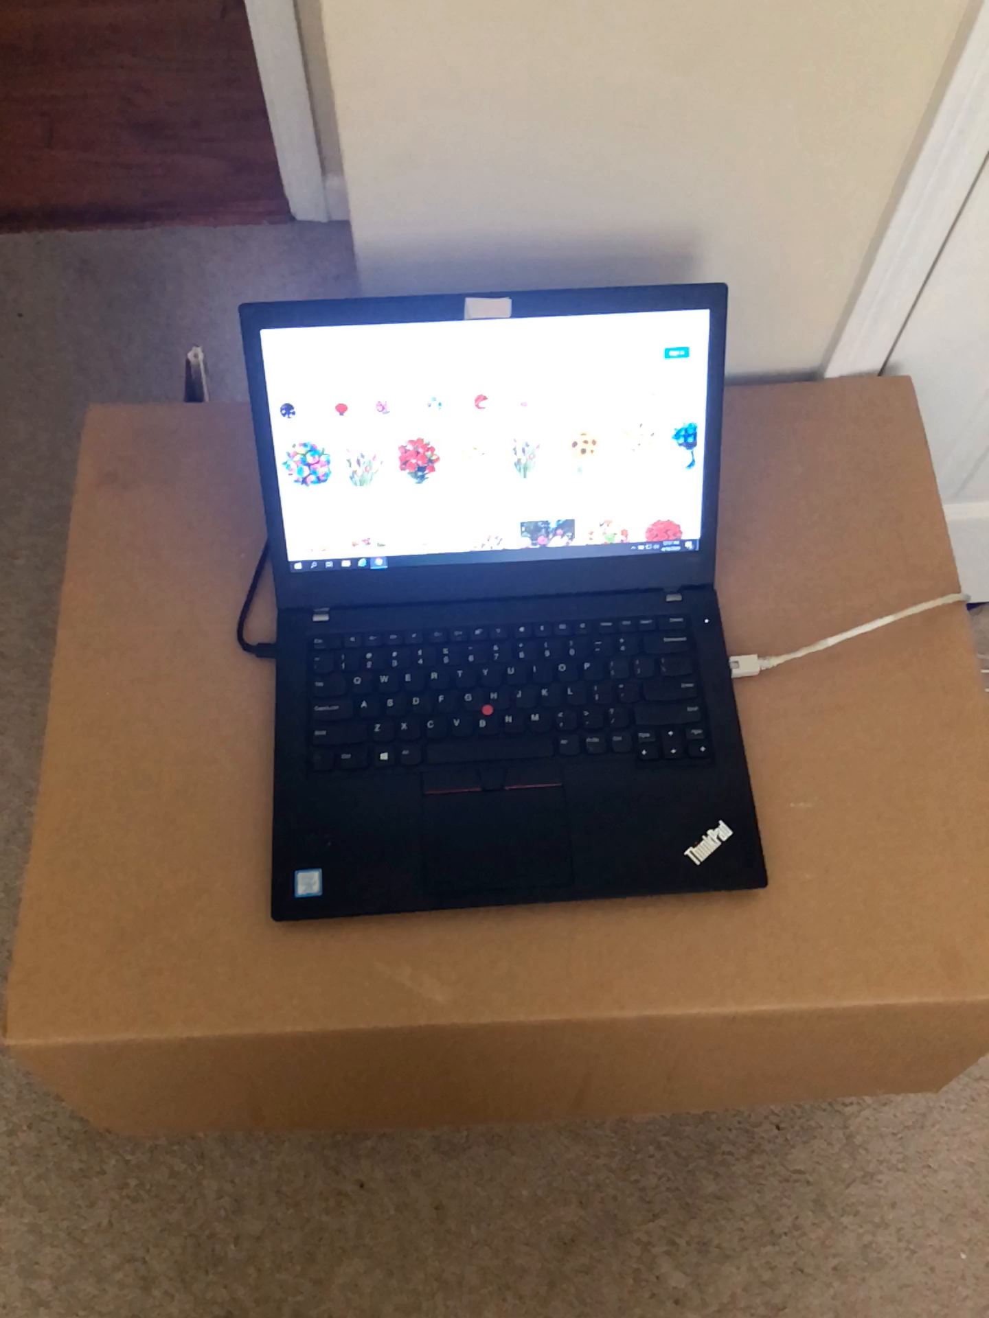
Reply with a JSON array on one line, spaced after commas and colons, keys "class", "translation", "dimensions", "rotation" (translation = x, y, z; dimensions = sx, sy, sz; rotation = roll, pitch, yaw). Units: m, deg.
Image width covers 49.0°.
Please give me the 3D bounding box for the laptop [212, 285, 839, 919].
[{"class": "laptop", "translation": [0.005, -0.041, 0.705], "dimensions": [0.322, 0.158, 0.365], "rotation": [-3, 65, -2]}]
